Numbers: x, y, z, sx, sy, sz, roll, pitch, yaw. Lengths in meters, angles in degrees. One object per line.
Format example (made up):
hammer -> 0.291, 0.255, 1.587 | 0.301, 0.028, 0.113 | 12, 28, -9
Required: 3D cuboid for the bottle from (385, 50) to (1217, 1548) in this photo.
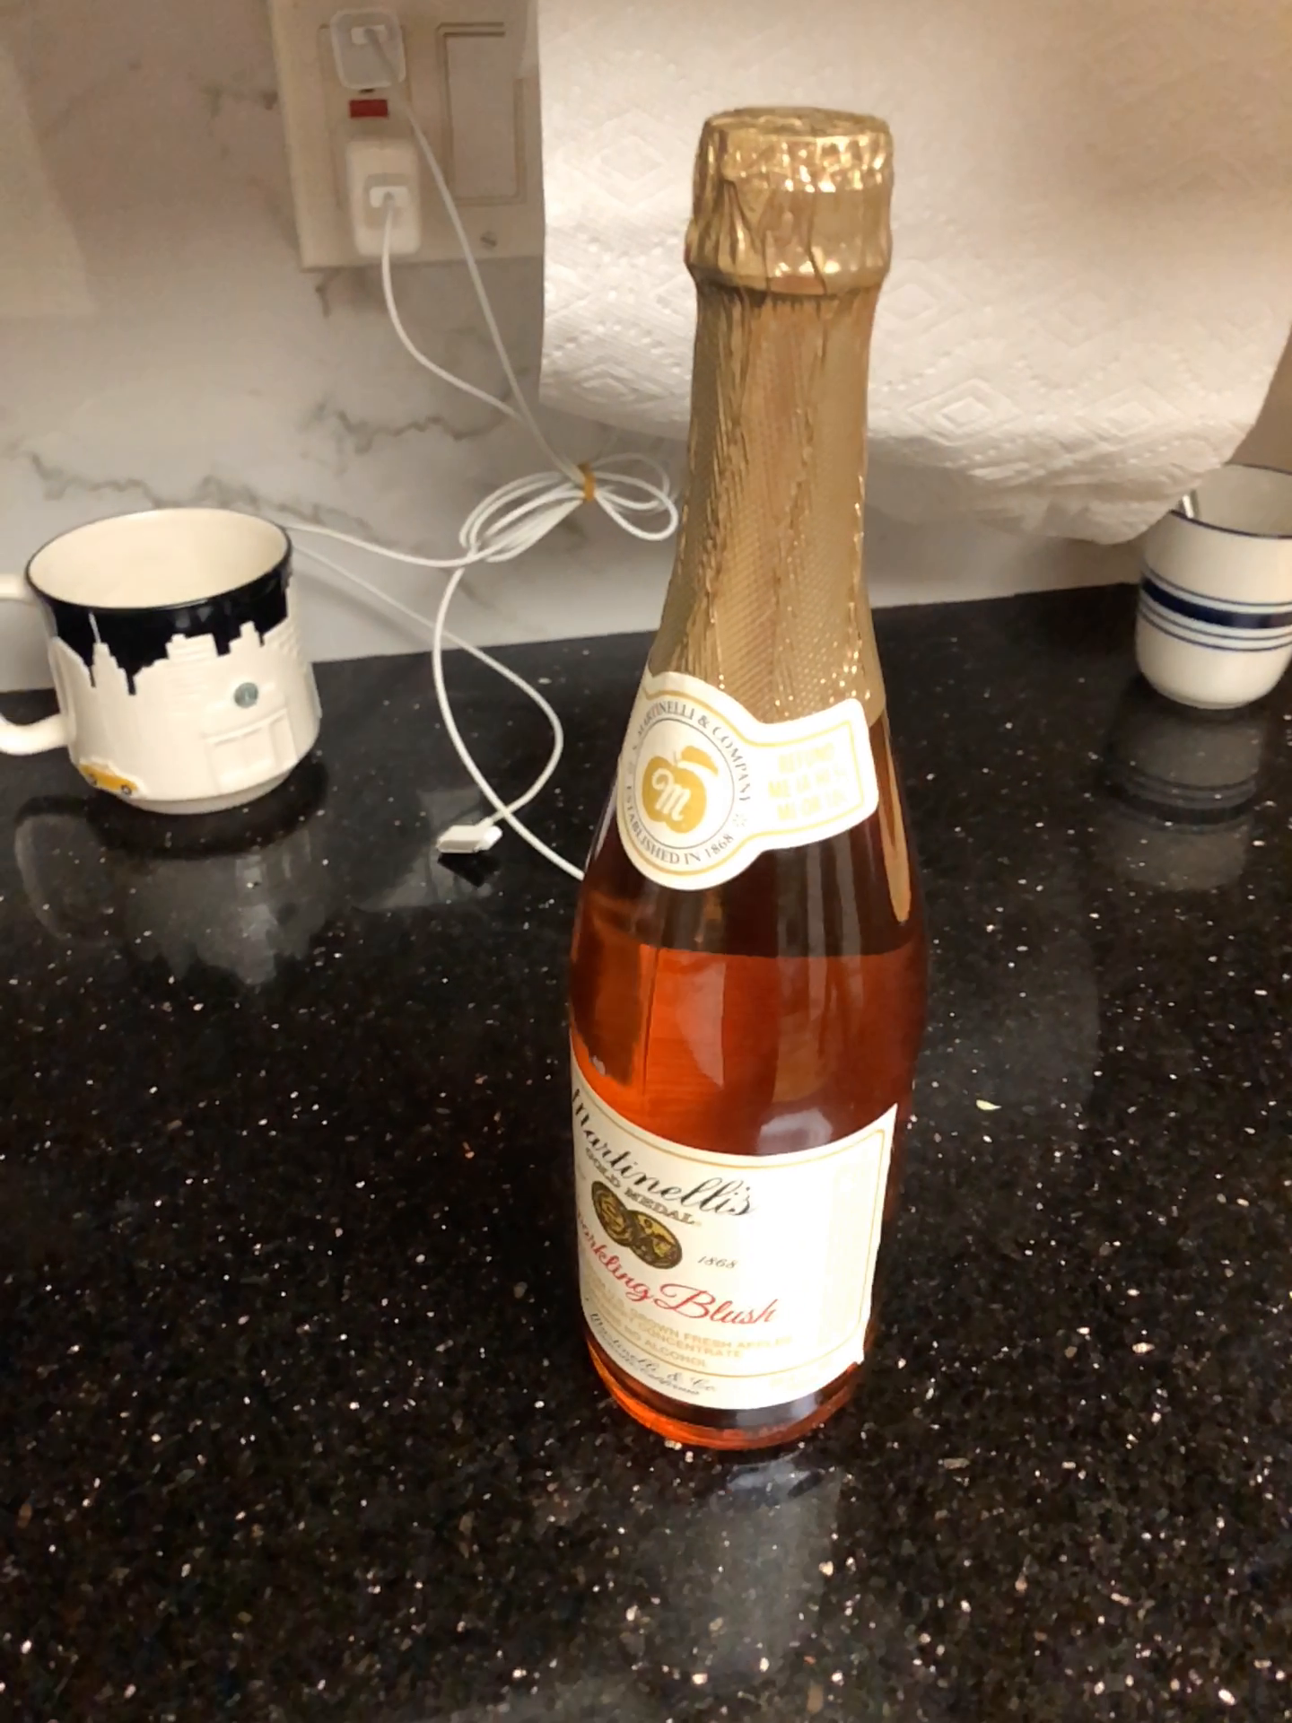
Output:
bottle -> 0.023, 0.005, 0.305 | 0.090, 0.298, 0.090 | 0, 36, 0
